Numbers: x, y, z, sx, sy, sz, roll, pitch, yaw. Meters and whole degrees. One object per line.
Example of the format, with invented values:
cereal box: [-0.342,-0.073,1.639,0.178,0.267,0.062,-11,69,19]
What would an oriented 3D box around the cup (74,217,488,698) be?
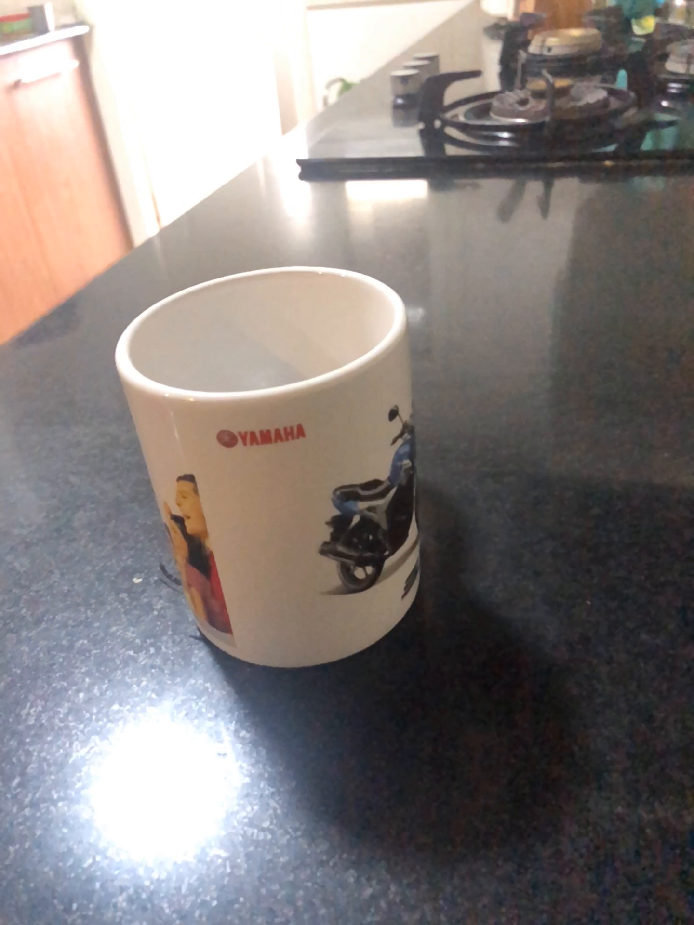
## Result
cup: [-0.007,-0.011,0.256,0.080,0.099,0.121,8,37,20]
